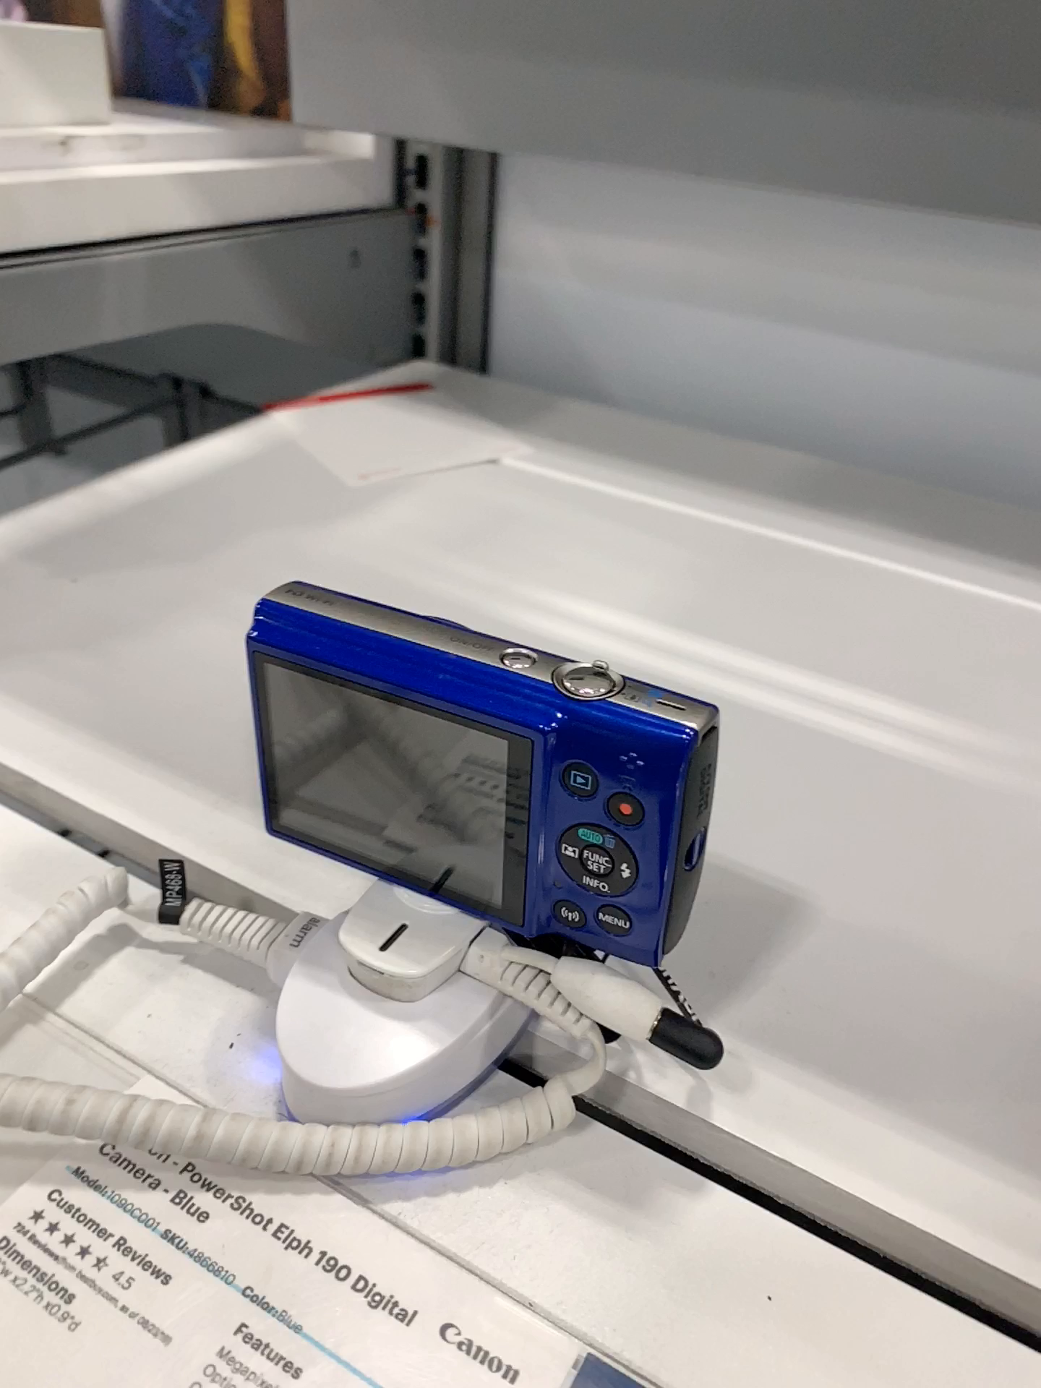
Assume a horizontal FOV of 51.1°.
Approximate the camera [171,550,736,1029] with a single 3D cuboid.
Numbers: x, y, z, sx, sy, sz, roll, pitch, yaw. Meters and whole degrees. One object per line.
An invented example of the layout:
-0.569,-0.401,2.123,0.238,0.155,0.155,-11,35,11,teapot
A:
-0.015,0.017,0.212,0.100,0.060,0.027,18,38,19,camera
